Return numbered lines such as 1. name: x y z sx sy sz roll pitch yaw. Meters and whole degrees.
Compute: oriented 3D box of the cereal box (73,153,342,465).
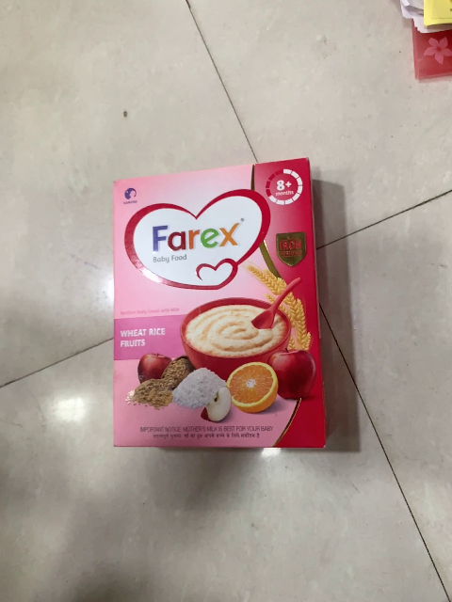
1. cereal box: -0.015 0.009 0.324 0.170 0.050 0.190 -4 83 12
